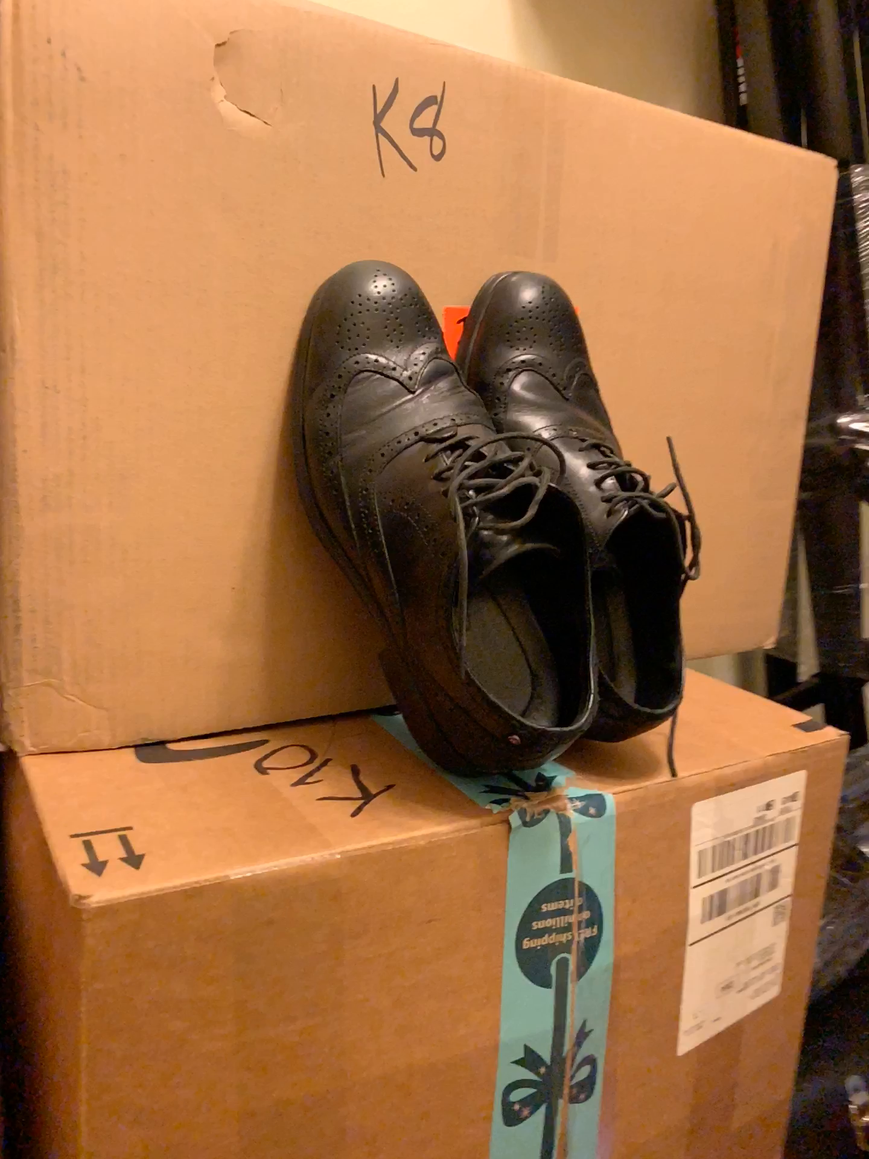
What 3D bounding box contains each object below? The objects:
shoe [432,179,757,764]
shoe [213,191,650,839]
[{"bbox_3d":[0.087,-0.053,0.500,0.120,0.280,0.100,-3,-3,-33],"label":"shoe"},{"bbox_3d":[-0.001,-0.035,0.451,0.120,0.280,0.100,-17,4,-35],"label":"shoe"}]
